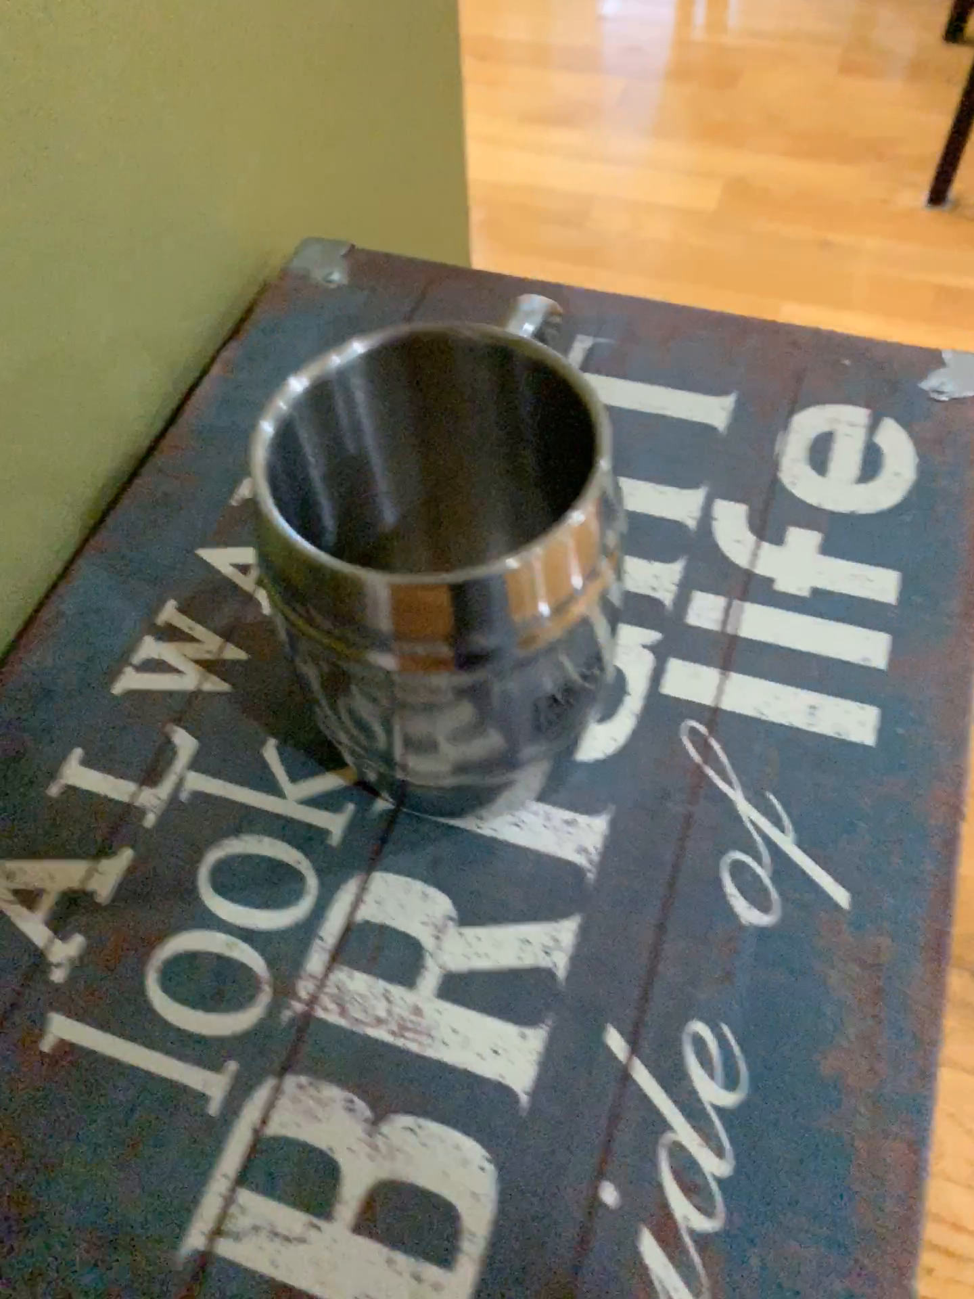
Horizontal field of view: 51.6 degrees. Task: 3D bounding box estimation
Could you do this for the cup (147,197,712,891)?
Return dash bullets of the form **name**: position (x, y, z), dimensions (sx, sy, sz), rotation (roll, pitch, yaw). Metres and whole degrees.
- **cup**: position (-0.003, -0.027, 0.272), dimensions (0.088, 0.114, 0.129), rotation (14, 58, 12)
